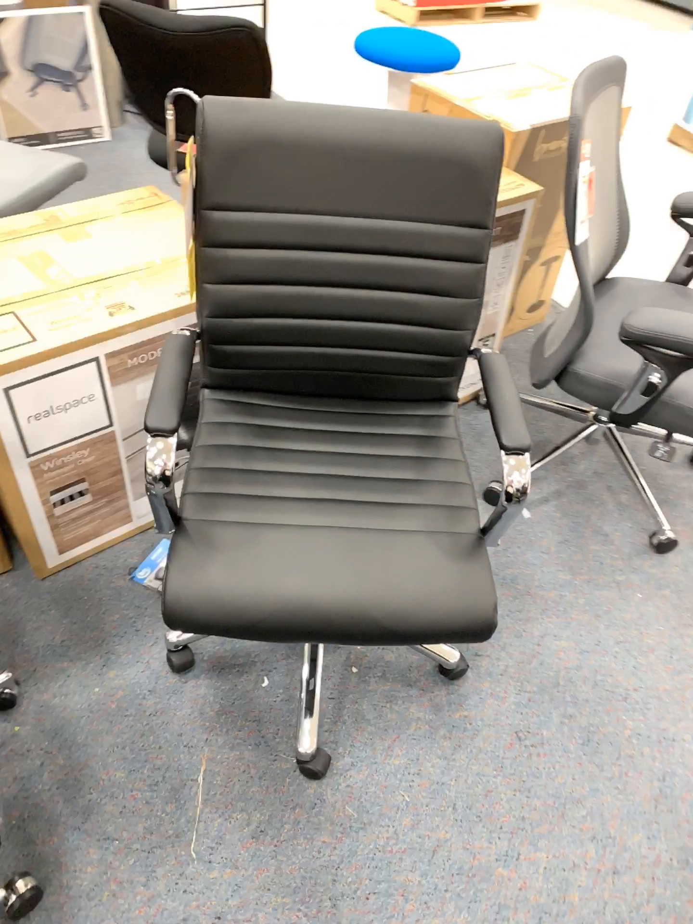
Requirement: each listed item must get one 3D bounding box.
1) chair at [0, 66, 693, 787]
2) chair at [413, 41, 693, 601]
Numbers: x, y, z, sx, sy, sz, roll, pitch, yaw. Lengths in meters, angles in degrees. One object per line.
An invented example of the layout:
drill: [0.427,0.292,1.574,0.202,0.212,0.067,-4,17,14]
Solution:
chair: [-0.005,0.005,1.157,0.654,0.953,0.652,4,45,-3]
chair: [0.695,-0.346,1.655,0.720,0.874,0.737,23,47,16]
